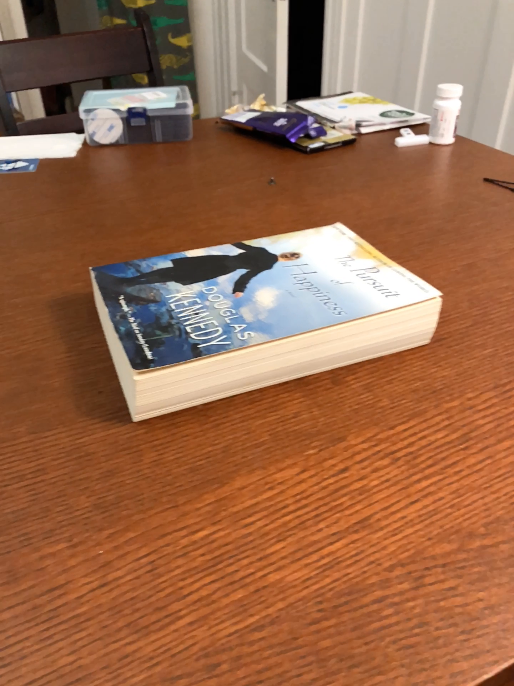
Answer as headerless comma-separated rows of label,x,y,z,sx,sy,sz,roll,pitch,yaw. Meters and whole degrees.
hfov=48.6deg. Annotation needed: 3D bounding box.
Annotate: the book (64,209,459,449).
book,-0.004,-0.028,0.424,0.240,0.050,0.161,-14,38,-18
